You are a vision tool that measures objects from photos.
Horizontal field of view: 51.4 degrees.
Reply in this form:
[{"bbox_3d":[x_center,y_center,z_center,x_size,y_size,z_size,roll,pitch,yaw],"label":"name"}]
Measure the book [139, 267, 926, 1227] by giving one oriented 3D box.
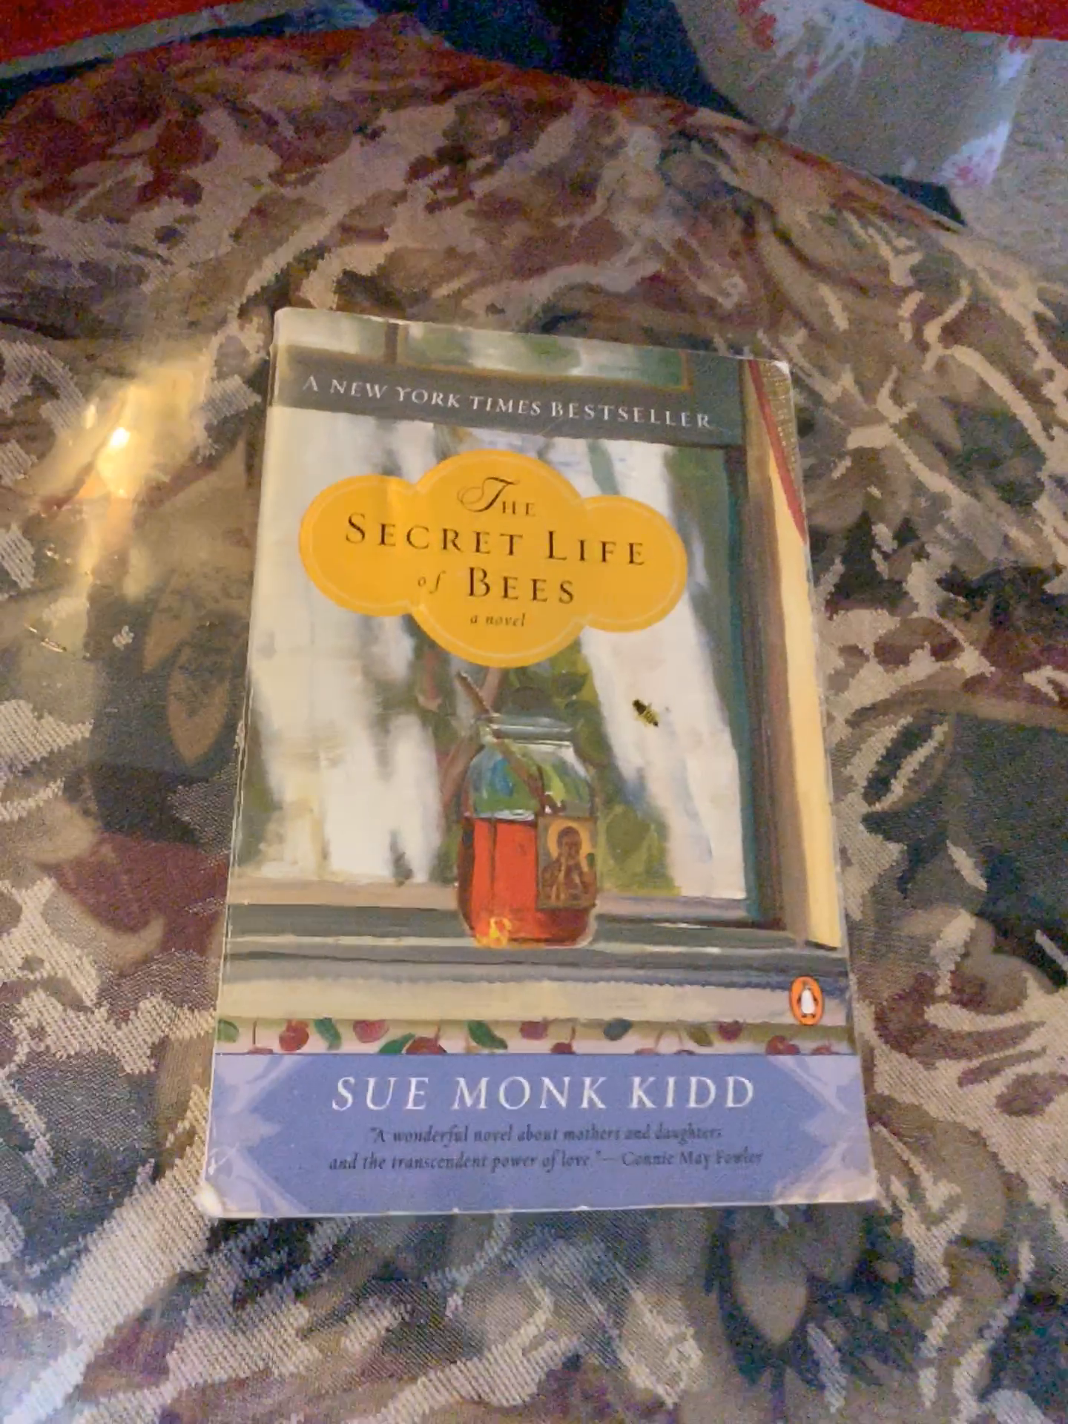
[{"bbox_3d":[-0.002,-0.001,0.254,0.140,0.040,0.210,1,68,-6],"label":"book"}]
